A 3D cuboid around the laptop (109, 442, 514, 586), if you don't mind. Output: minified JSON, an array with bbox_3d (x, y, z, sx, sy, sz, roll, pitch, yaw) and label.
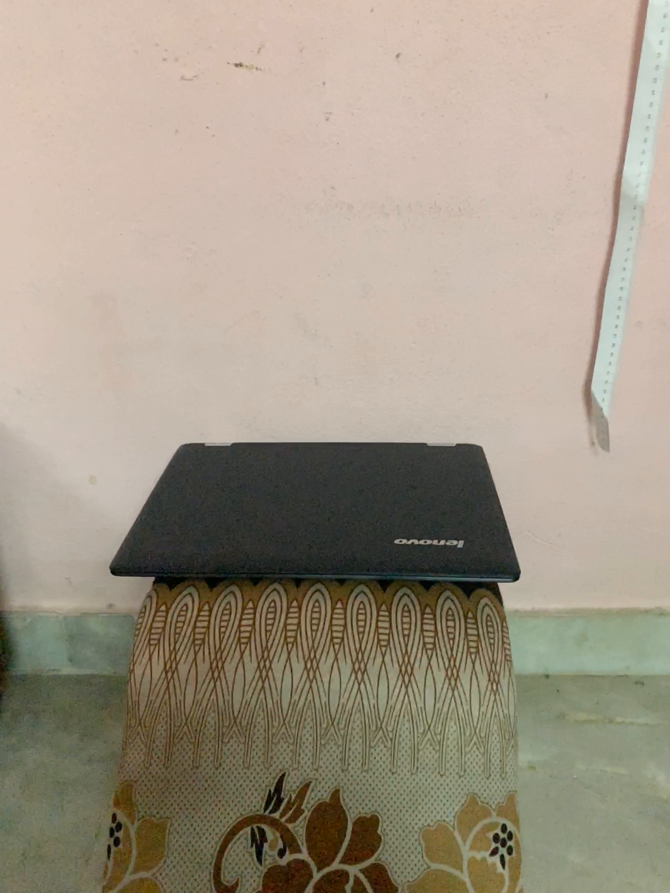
[{"bbox_3d":[-0.013,0.051,0.623,0.312,0.012,0.214,0,28,3],"label":"laptop"}]
